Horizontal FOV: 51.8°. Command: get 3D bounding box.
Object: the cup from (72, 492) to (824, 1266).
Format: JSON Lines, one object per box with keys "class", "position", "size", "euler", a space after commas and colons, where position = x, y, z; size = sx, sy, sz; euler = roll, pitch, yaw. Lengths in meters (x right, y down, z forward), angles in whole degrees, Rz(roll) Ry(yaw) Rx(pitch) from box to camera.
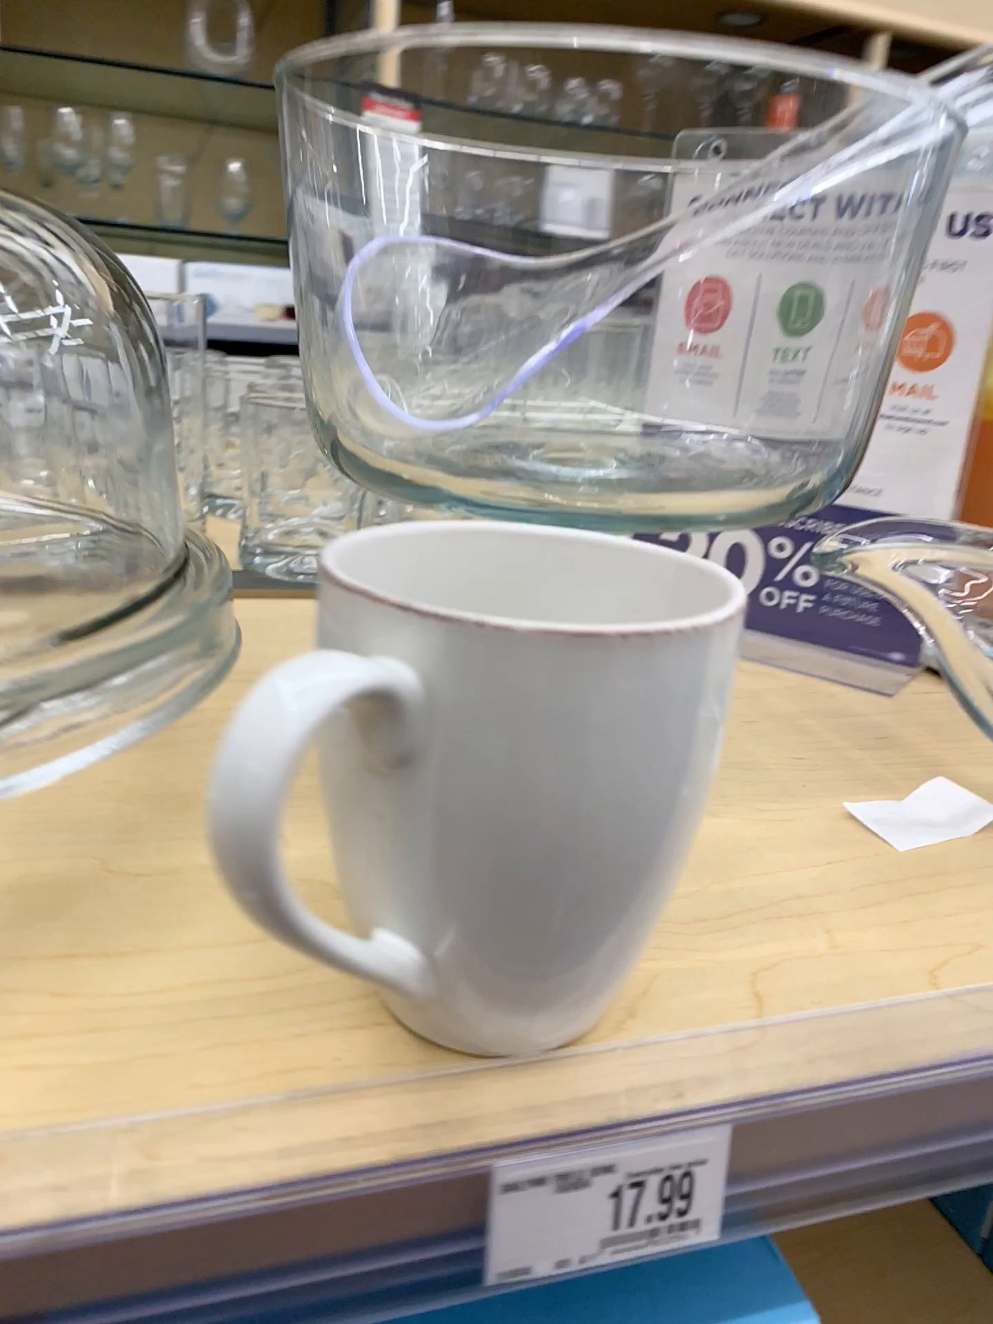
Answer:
{"class": "cup", "position": [-0.006, 0.025, 0.225], "size": [0.096, 0.094, 0.130], "euler": [20, 23, 29]}
